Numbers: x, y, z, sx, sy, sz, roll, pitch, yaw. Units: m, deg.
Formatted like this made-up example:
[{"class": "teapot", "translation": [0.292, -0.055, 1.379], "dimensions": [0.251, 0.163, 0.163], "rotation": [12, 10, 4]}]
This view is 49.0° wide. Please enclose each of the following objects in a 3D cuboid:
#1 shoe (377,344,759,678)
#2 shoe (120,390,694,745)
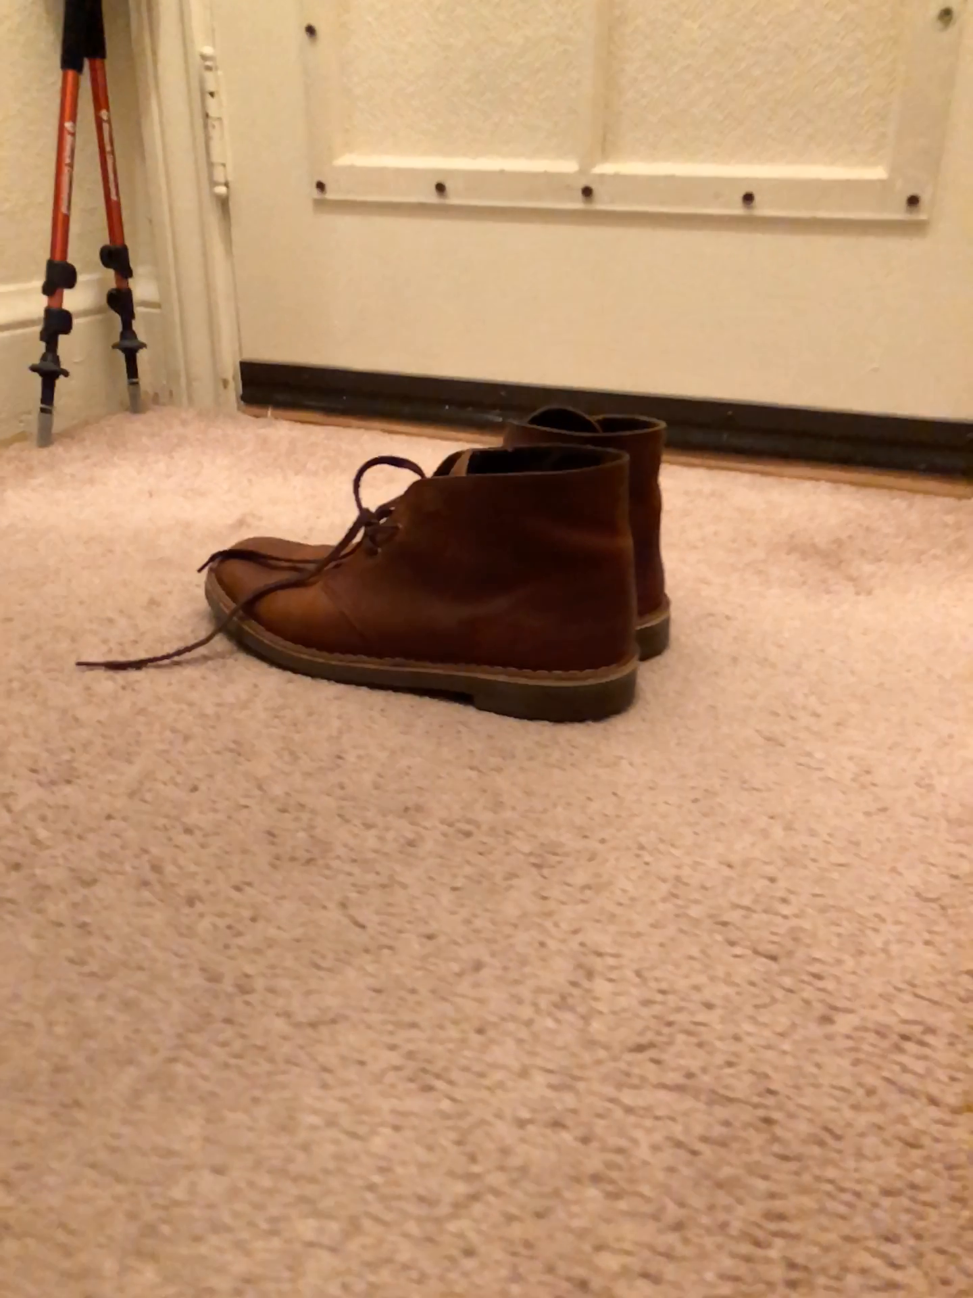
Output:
[{"class": "shoe", "translation": [0.036, -0.114, 0.748], "dimensions": [0.110, 0.138, 0.304], "rotation": [-12, 28, -26]}, {"class": "shoe", "translation": [-0.046, -0.059, 0.629], "dimensions": [0.303, 0.138, 0.111], "rotation": [10, 26, 18]}]
